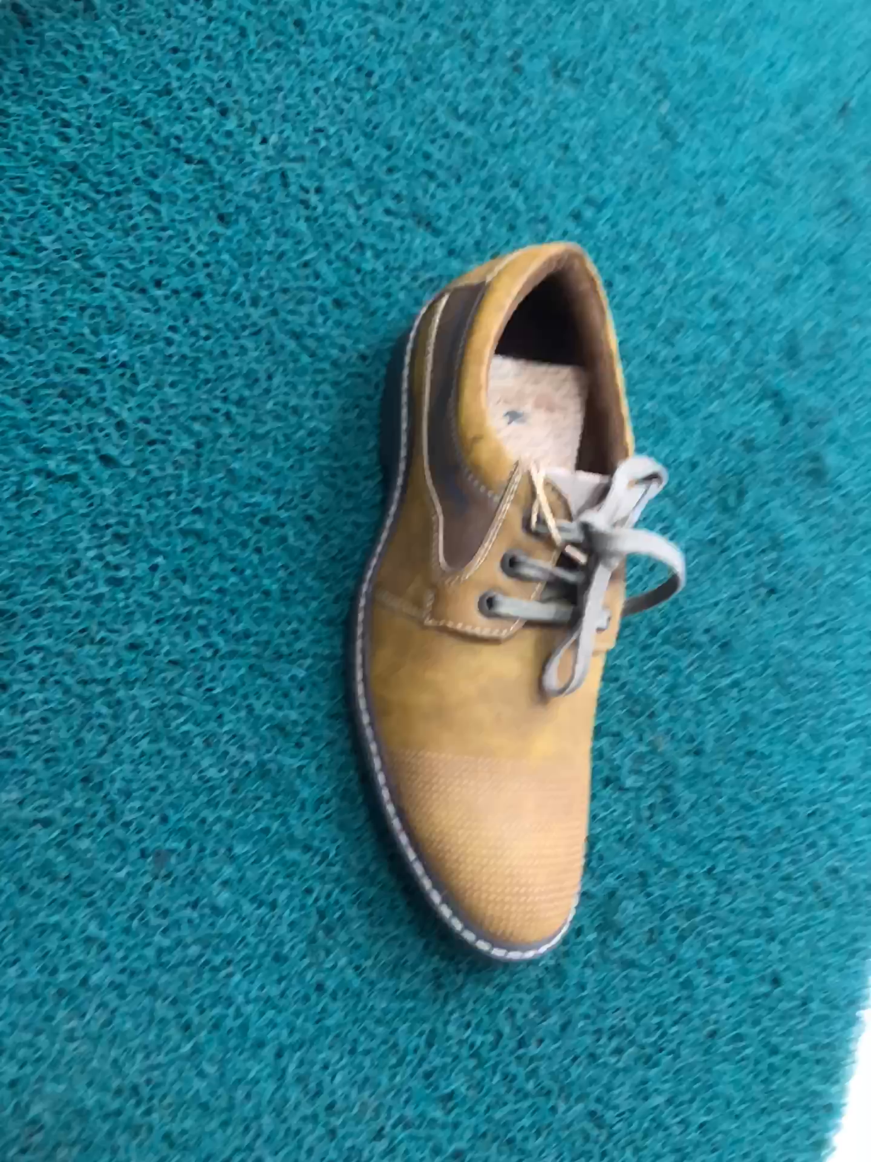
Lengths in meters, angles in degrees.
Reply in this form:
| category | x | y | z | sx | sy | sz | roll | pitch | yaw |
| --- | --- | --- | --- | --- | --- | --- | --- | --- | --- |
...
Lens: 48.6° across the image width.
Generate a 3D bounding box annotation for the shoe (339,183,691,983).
| category | x | y | z | sx | sy | sz | roll | pitch | yaw |
| --- | --- | --- | --- | --- | --- | --- | --- | --- | --- |
| shoe | 0.024 | 0.002 | 0.420 | 0.100 | 0.109 | 0.300 | 5 | 75 | -23 |
